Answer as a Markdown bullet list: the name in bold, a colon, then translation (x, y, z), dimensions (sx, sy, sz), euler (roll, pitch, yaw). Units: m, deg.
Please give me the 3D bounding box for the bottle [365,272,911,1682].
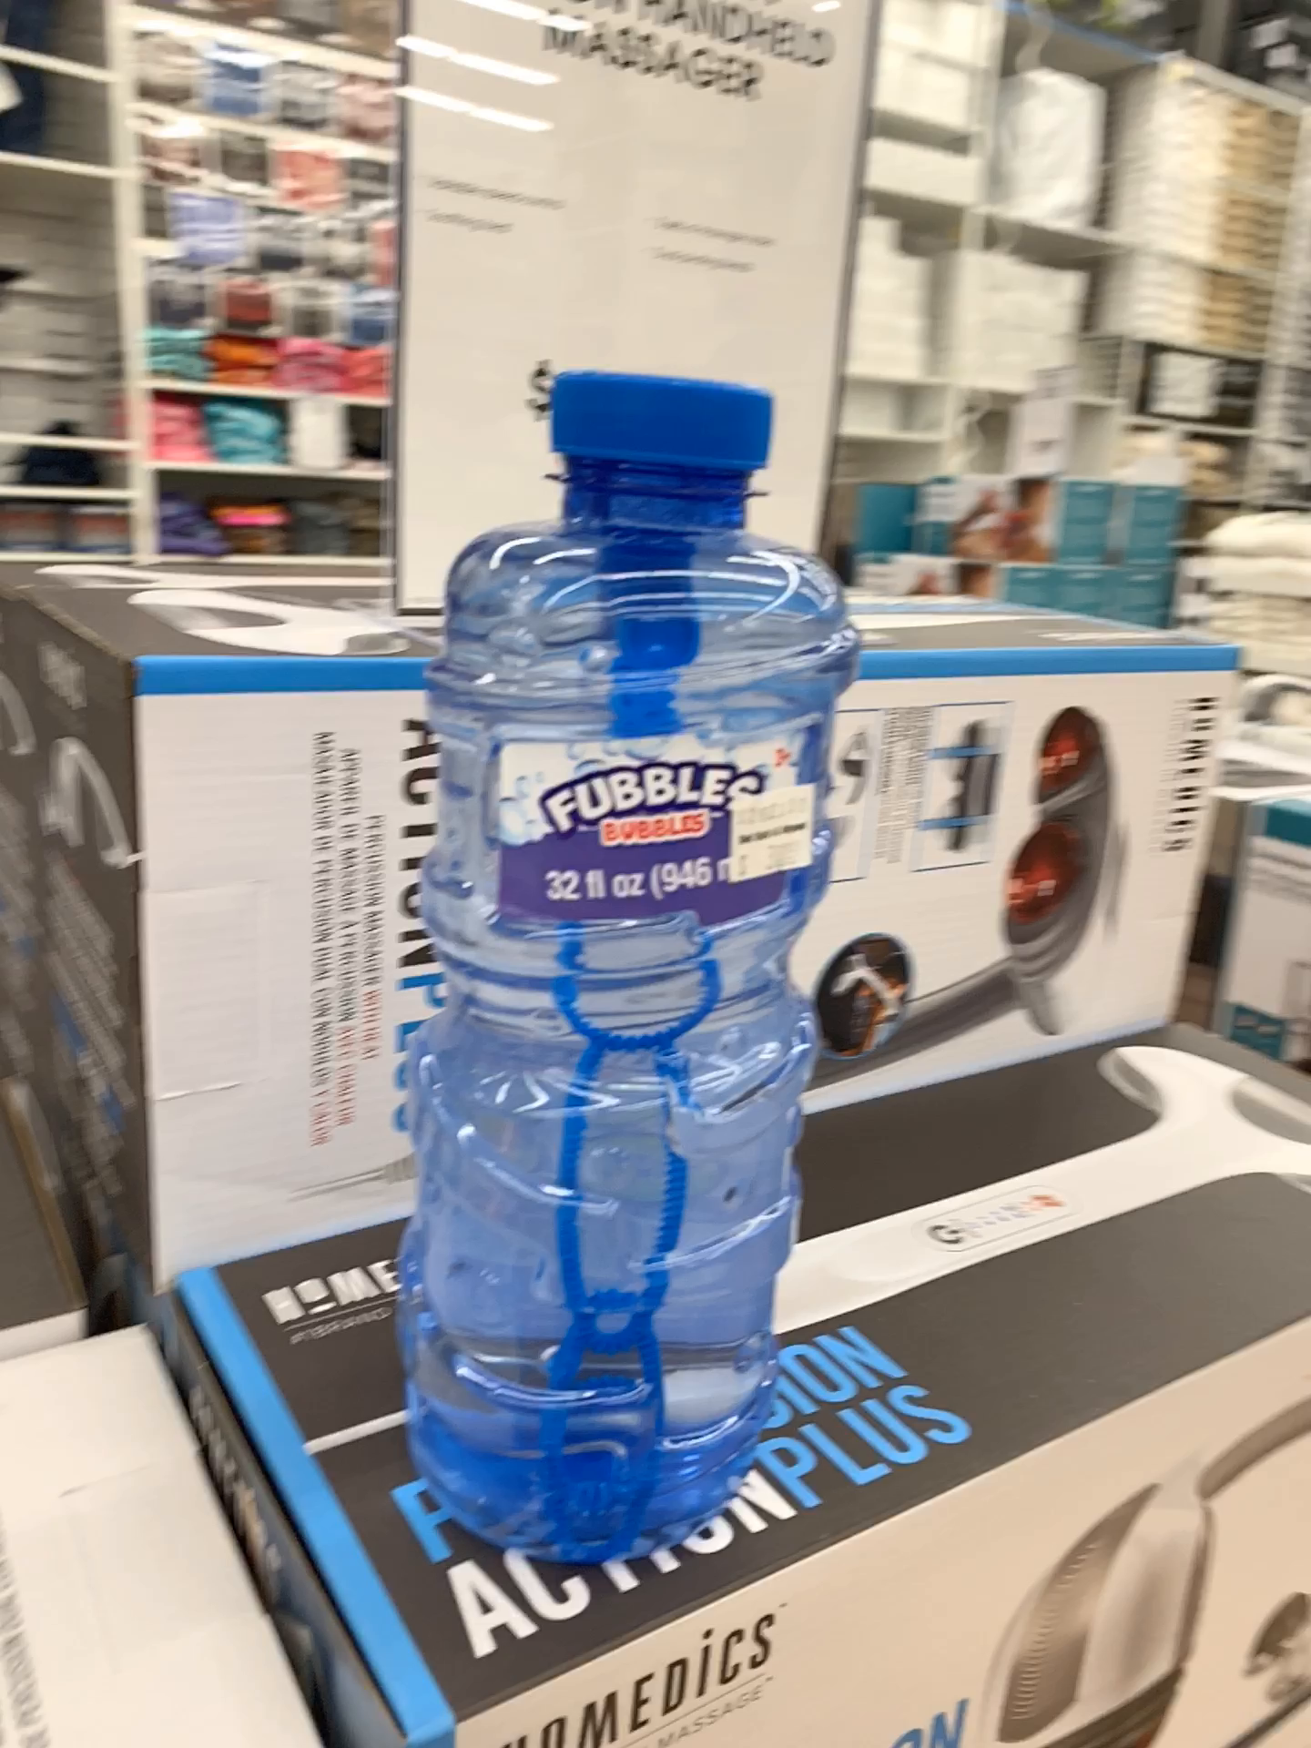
- **bottle**: translation (-0.013, 0.022, 0.266), dimensions (0.080, 0.243, 0.081), euler (3, 15, -1)
